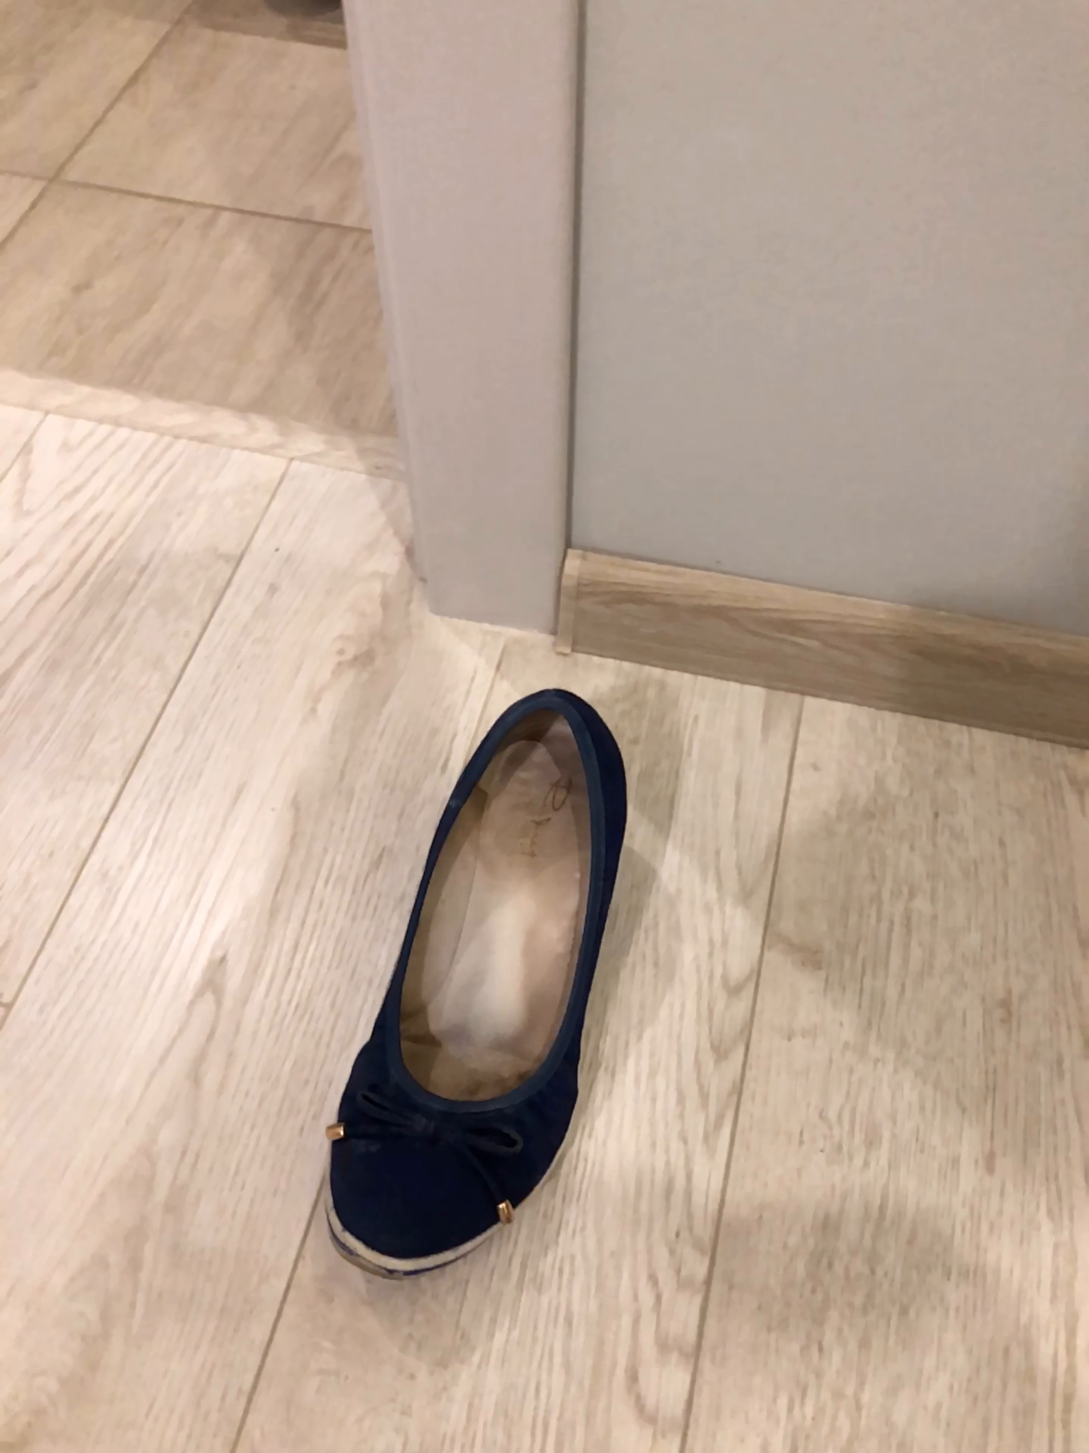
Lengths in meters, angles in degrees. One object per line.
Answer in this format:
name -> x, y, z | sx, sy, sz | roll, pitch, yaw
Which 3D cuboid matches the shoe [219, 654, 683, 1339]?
shoe -> -0.024, 0.104, 0.488 | 0.098, 0.109, 0.231 | 15, 58, 10
